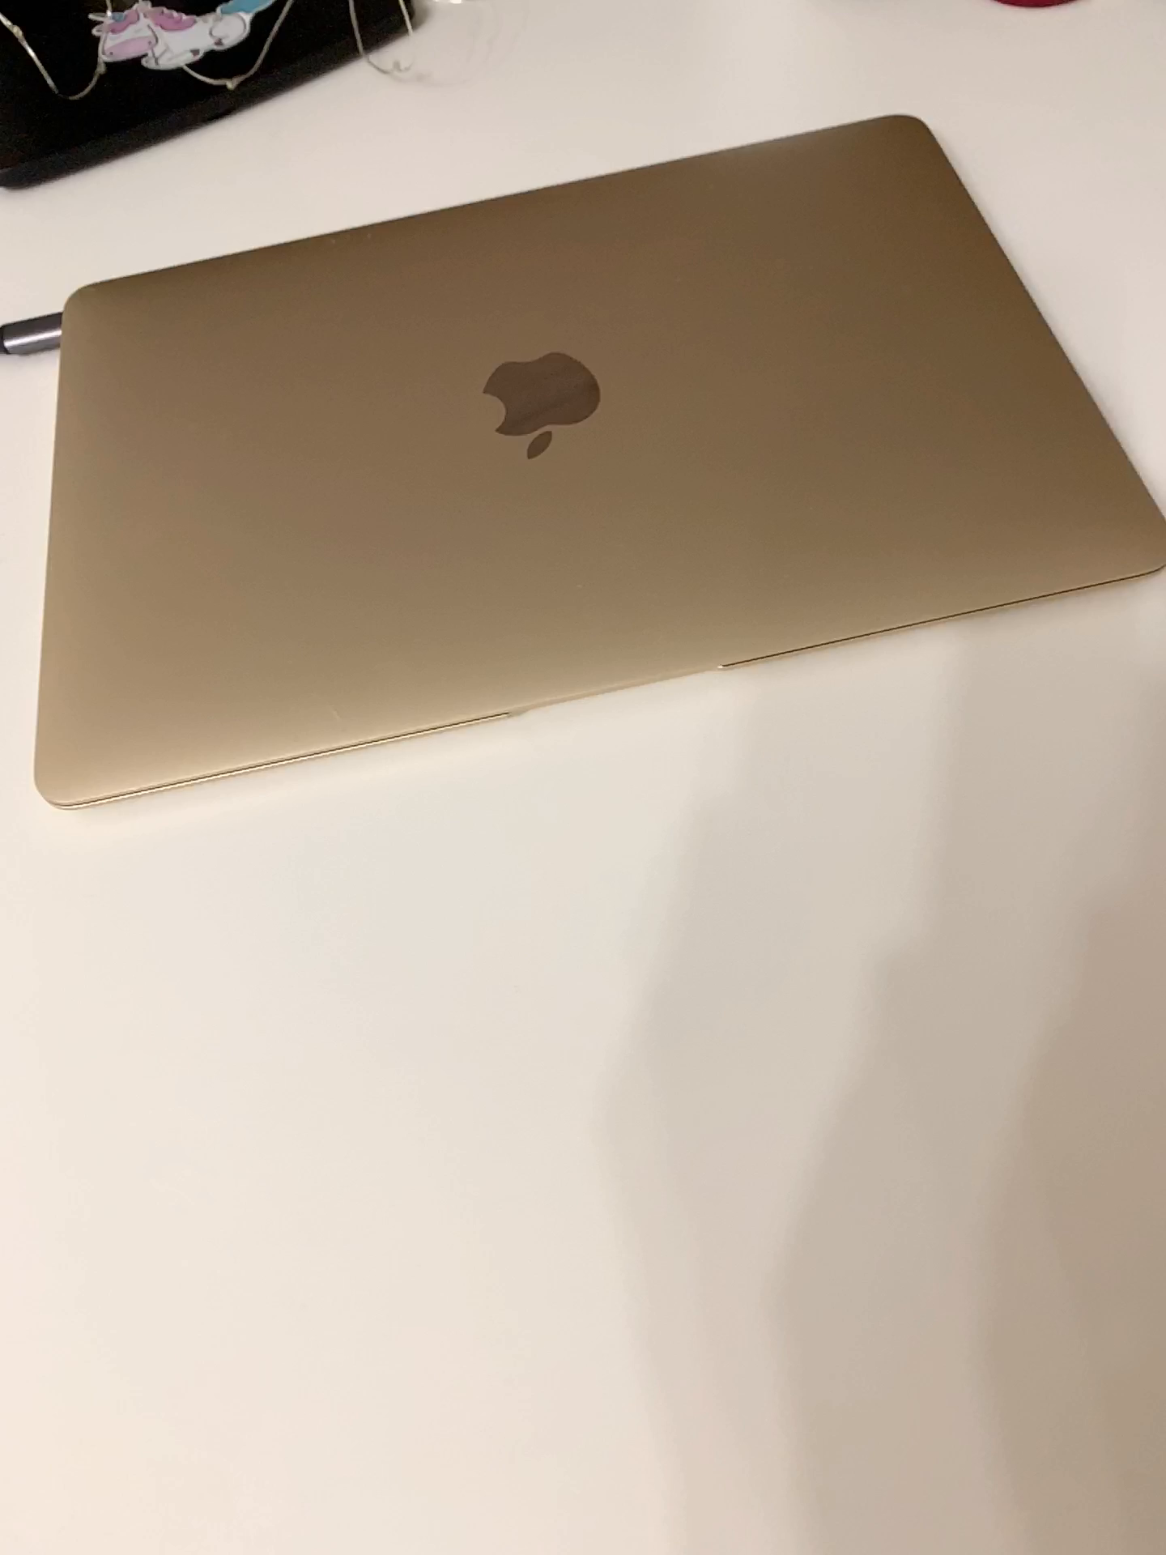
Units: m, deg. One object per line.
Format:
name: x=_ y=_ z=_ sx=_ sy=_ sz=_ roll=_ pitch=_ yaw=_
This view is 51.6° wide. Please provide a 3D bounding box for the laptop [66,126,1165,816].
laptop: x=-0.007 y=-0.094 z=0.320 sx=0.255 sy=0.009 sz=0.175 roll=-12 pitch=59 yaw=-1
